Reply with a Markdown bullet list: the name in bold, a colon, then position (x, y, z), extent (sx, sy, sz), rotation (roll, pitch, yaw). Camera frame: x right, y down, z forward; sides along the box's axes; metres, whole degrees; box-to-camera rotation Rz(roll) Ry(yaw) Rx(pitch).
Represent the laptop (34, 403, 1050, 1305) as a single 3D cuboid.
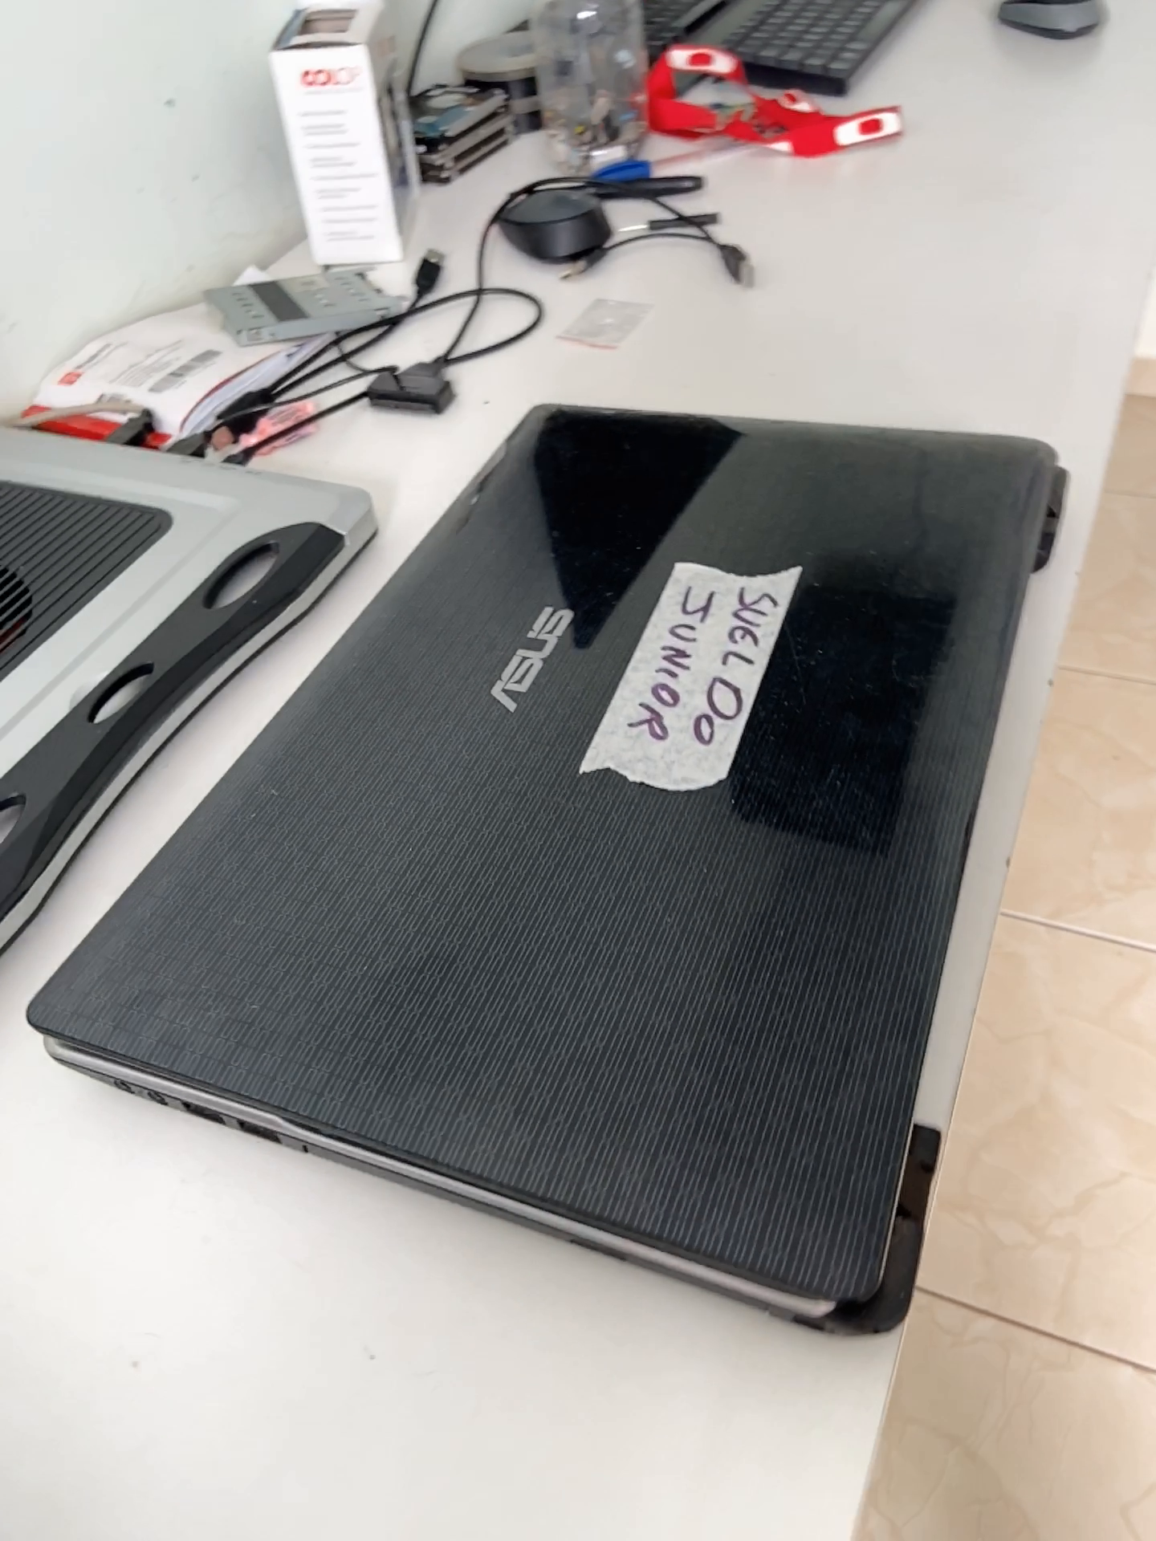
- **laptop**: position (0.020, -0.031, 0.414), extent (0.236, 0.001, 0.364), rotation (11, 47, 20)
